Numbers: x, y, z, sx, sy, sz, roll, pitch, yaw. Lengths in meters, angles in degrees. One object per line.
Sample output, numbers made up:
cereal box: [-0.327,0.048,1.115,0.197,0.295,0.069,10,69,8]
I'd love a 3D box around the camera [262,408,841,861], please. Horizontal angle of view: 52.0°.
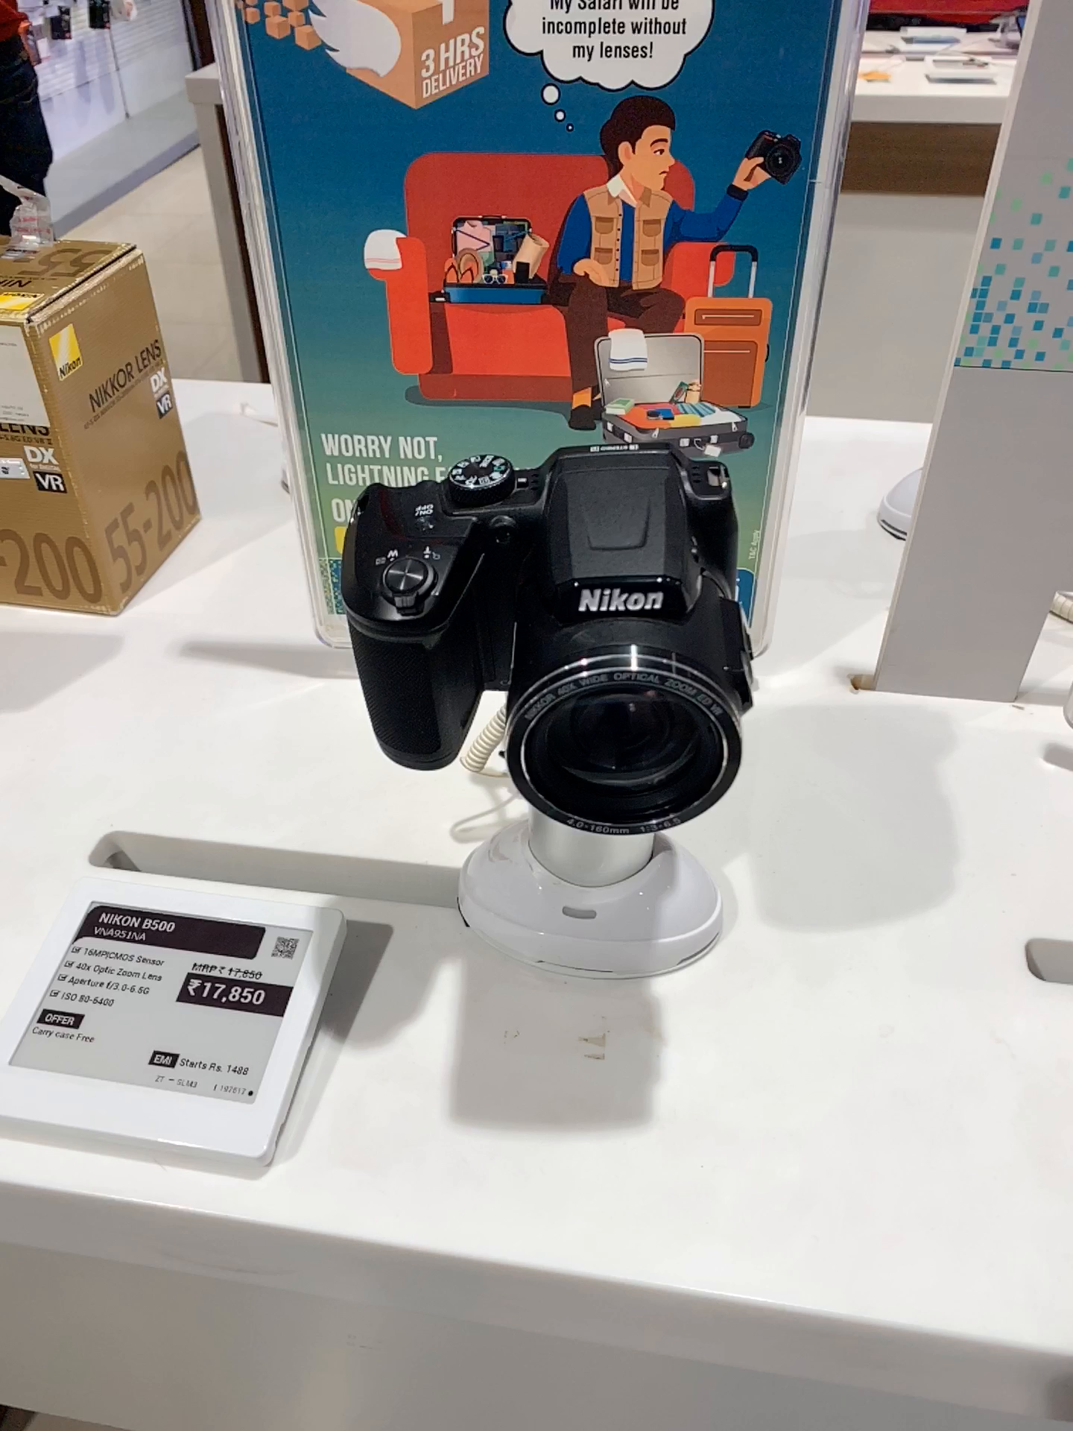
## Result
camera: [0.004,-0.023,0.288,0.120,0.080,0.090,0,39,1]
